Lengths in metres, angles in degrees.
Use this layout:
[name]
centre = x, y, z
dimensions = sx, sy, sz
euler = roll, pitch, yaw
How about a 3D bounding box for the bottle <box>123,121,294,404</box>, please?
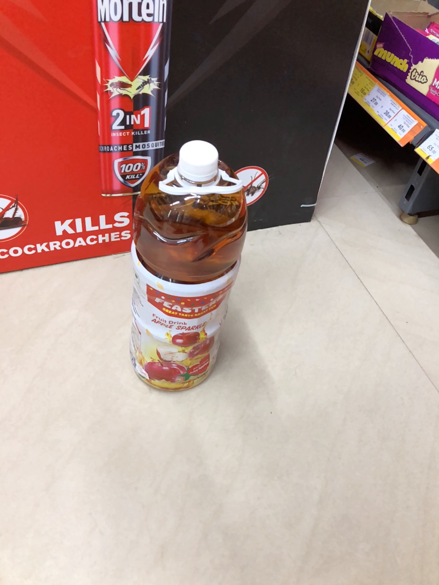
[bottle]
centre = -0.028, -0.009, 0.470
dimensions = 0.120, 0.278, 0.101
euler = -1, 48, -10
